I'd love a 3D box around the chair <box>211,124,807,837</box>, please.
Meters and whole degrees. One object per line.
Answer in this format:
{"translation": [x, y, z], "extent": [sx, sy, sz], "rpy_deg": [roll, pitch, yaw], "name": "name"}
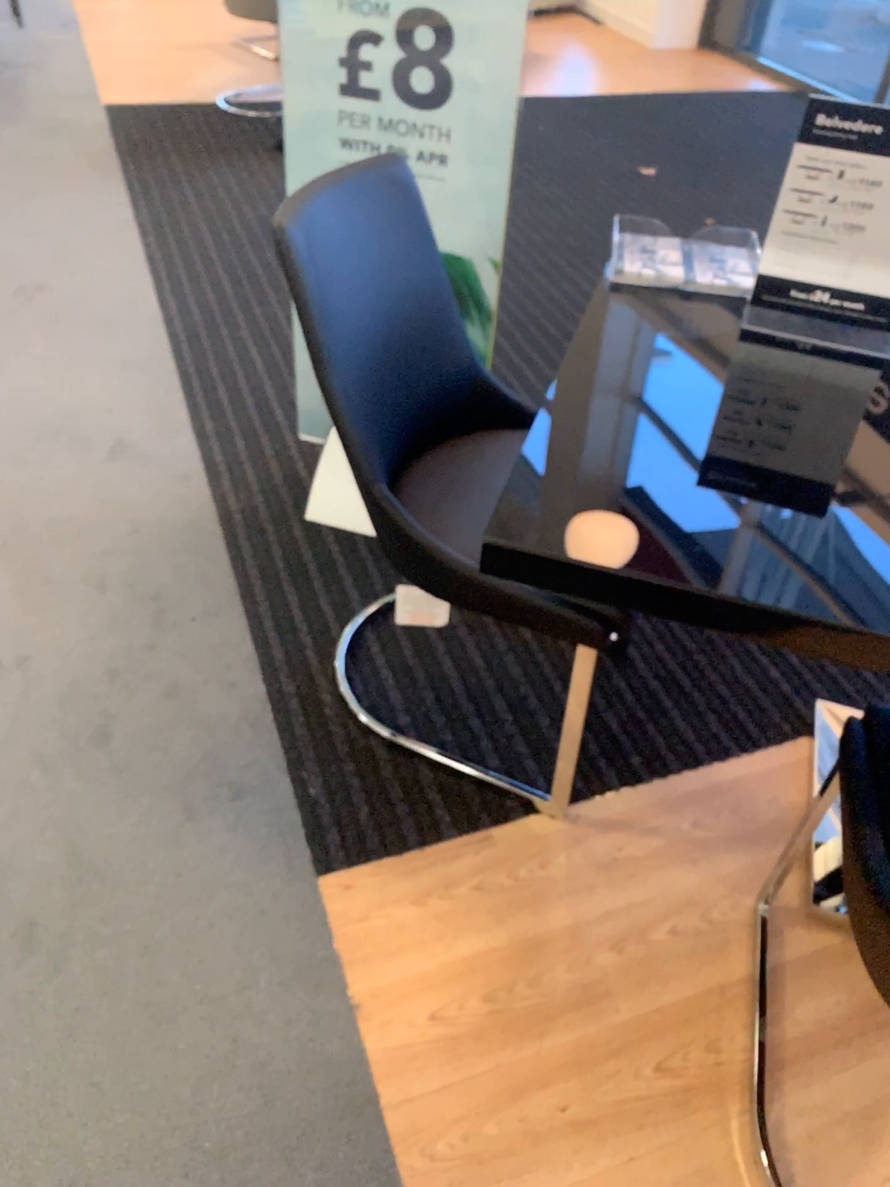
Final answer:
{"translation": [0.085, -0.178, 1.440], "extent": [0.610, 0.811, 0.534], "rpy_deg": [20, 43, 16], "name": "chair"}
